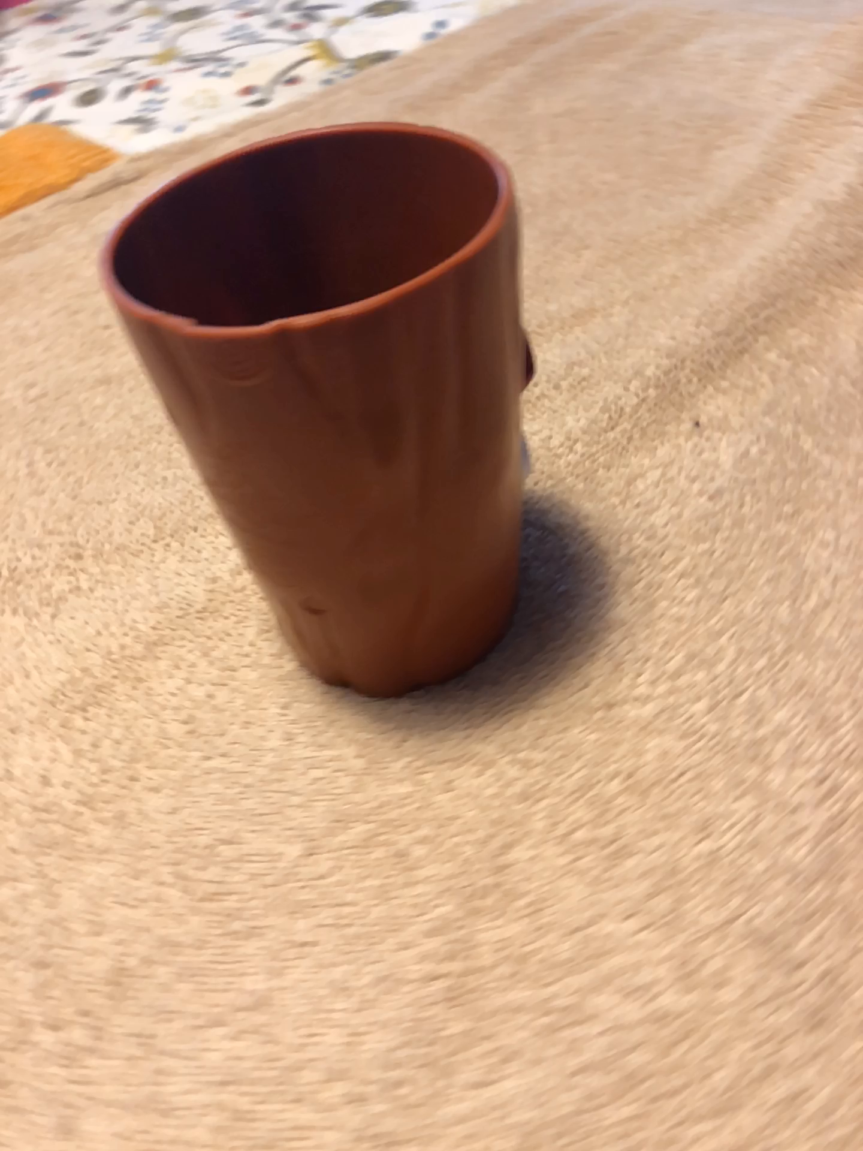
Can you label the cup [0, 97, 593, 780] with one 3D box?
[{"bbox_3d":[-0.017,-0.031,0.218,0.080,0.109,0.090,13,52,22],"label":"cup"}]
